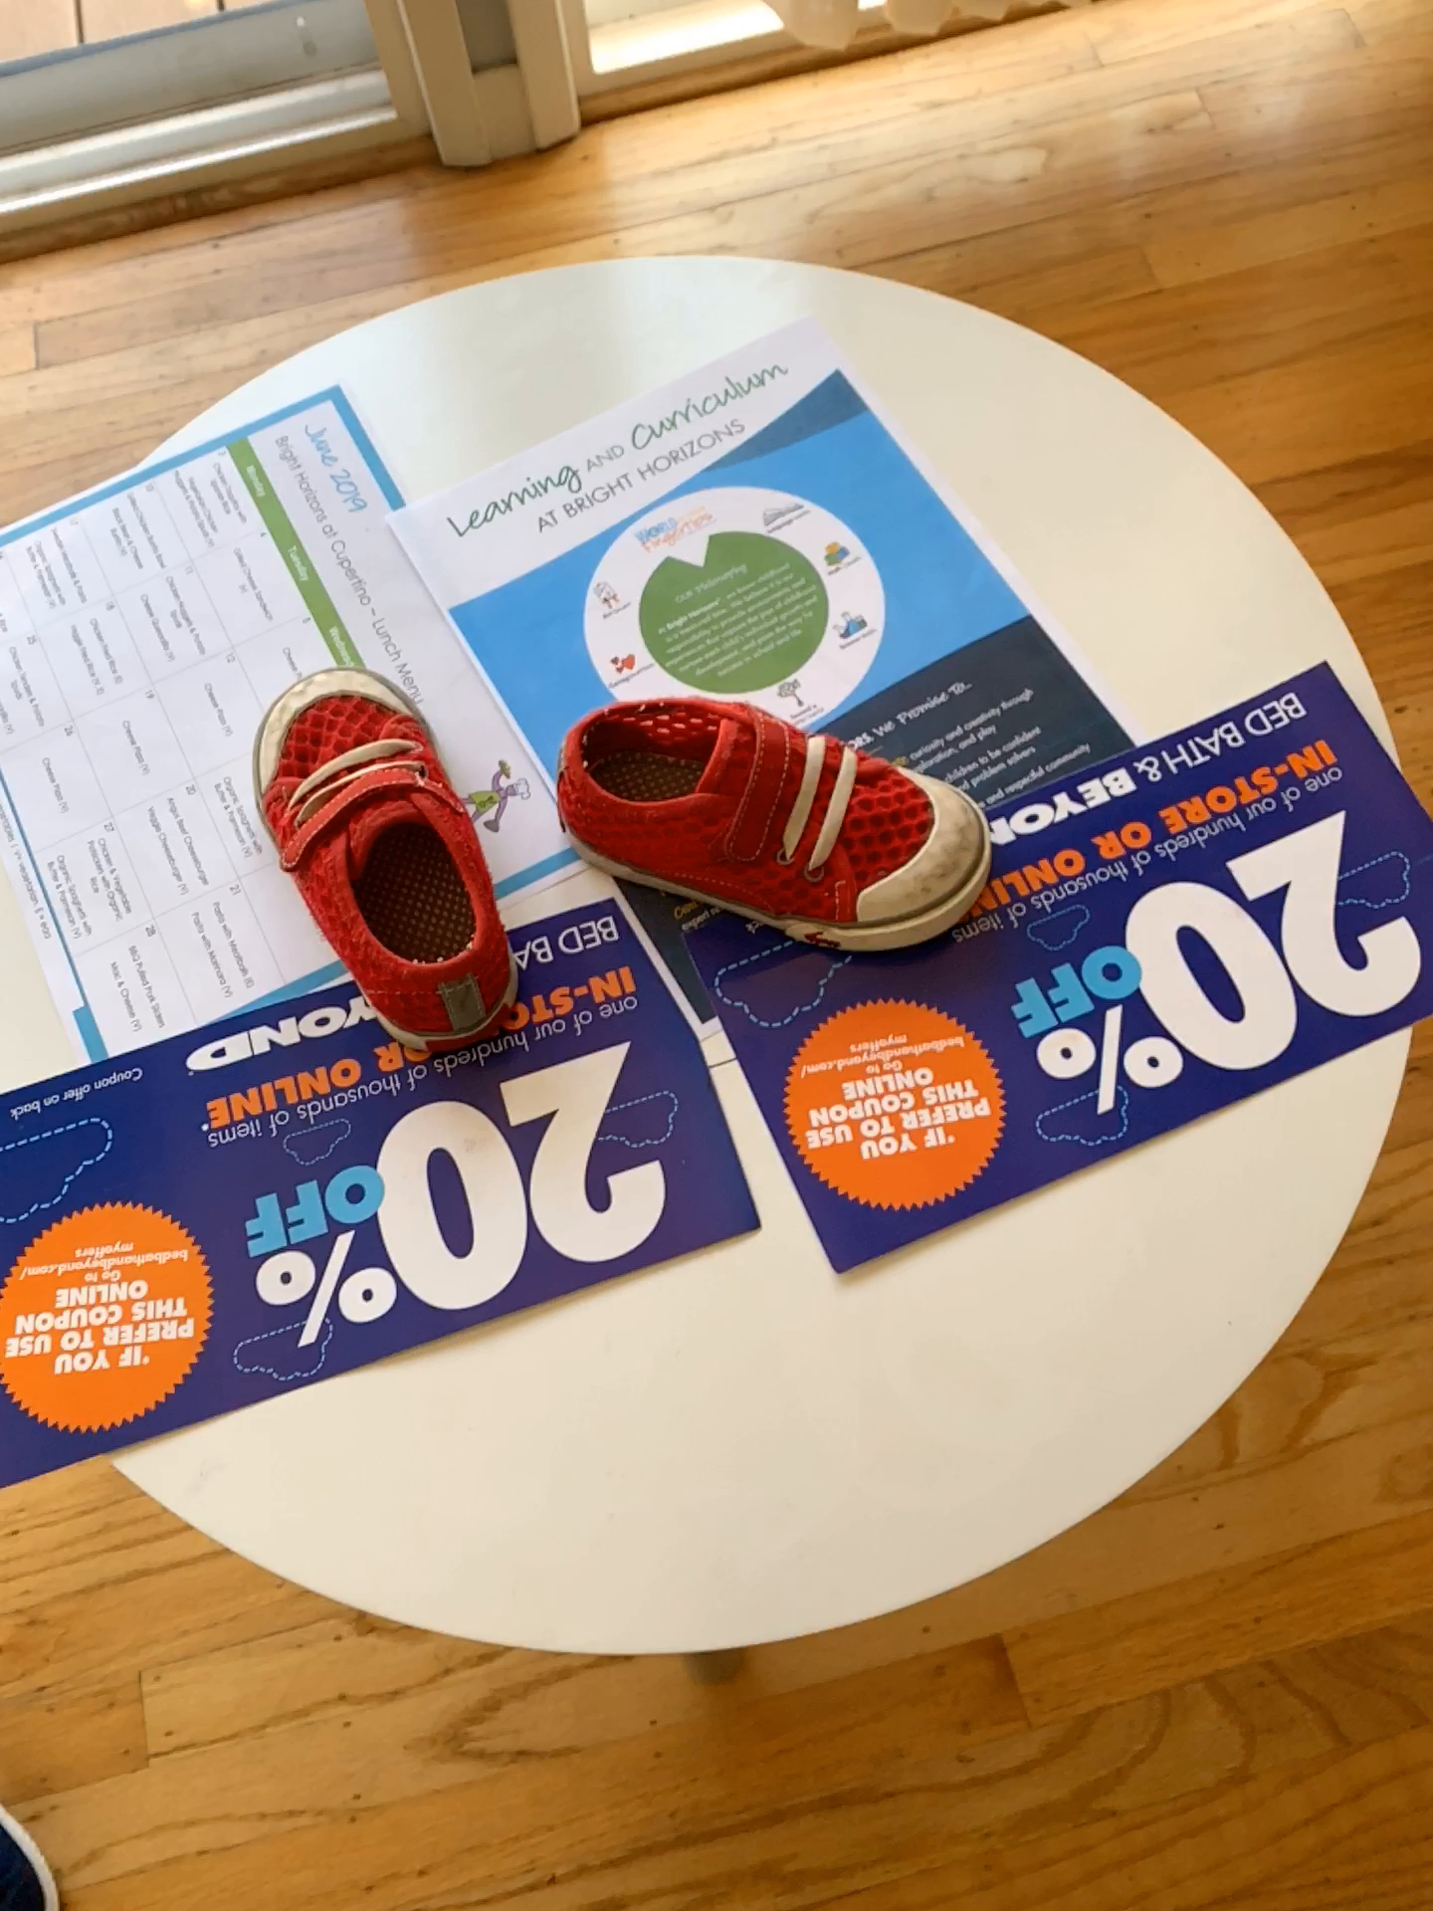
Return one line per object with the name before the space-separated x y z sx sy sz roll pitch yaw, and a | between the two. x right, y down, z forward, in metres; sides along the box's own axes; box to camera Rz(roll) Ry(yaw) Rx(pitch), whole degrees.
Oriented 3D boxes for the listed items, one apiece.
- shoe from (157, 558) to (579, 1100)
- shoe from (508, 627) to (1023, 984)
shoe | -0.127 -0.047 0.541 0.080 0.070 0.170 -26 69 -7
shoe | 0.020 -0.060 0.590 0.180 0.070 0.080 15 70 10
